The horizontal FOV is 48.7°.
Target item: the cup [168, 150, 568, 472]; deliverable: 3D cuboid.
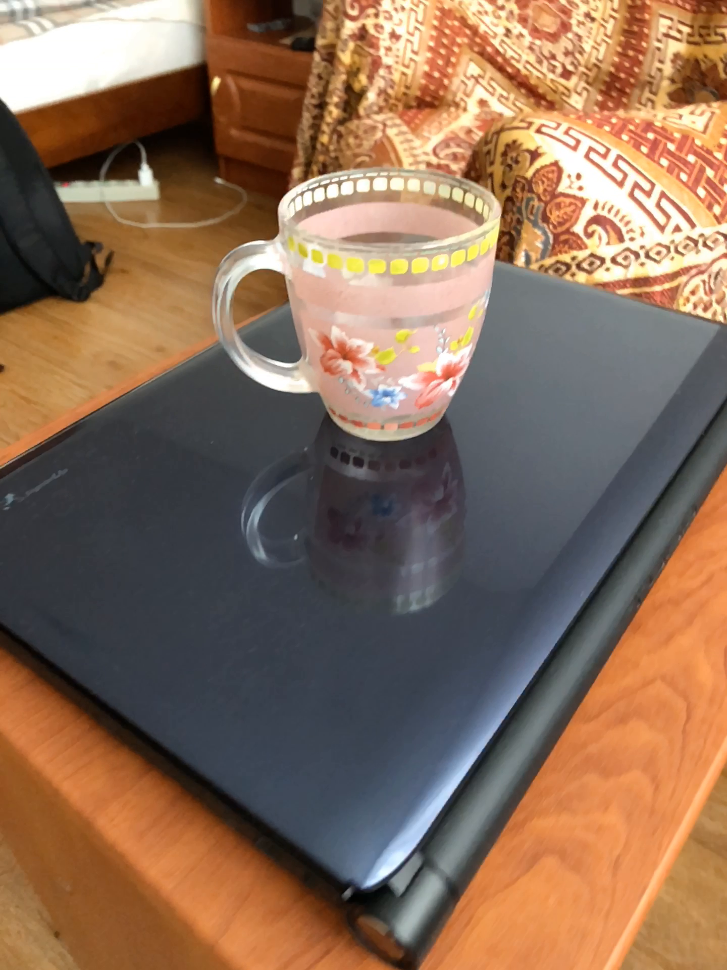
[{"bbox_3d":[-0.004,-0.077,0.330,0.130,0.081,0.095,-10,41,-13],"label":"cup"}]
